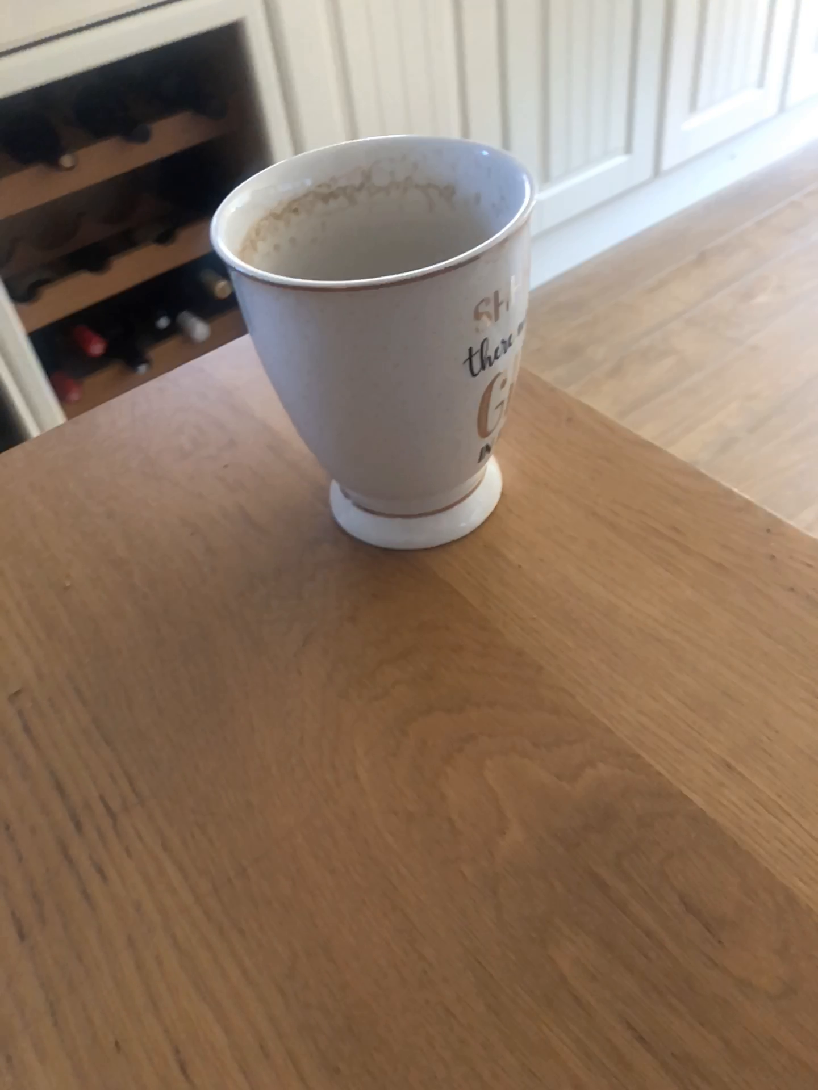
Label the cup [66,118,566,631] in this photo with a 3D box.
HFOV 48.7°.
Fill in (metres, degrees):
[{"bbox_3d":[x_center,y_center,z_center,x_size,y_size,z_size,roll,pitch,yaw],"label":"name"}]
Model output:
[{"bbox_3d":[-0.018,-0.068,0.328,0.109,0.111,0.135,15,49,23],"label":"cup"}]
